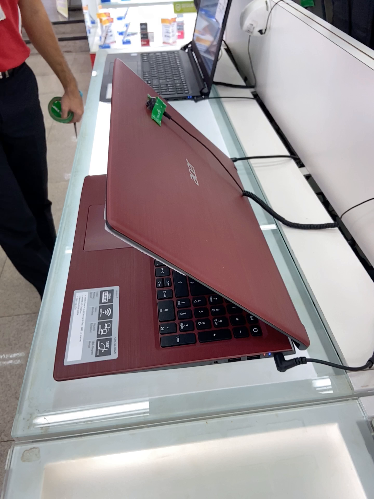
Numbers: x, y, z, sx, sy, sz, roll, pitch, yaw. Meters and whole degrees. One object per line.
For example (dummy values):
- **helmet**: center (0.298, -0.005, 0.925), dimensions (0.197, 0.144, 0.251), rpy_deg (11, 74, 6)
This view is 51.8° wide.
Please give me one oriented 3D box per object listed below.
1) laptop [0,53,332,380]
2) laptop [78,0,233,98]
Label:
- **laptop**: center (-0.035, -0.075, 0.457), dimensions (0.238, 0.179, 0.369), rpy_deg (-6, 42, -4)
- **laptop**: center (-0.075, -0.566, 0.953), dimensions (0.304, 0.230, 0.330), rpy_deg (-5, 43, -3)
